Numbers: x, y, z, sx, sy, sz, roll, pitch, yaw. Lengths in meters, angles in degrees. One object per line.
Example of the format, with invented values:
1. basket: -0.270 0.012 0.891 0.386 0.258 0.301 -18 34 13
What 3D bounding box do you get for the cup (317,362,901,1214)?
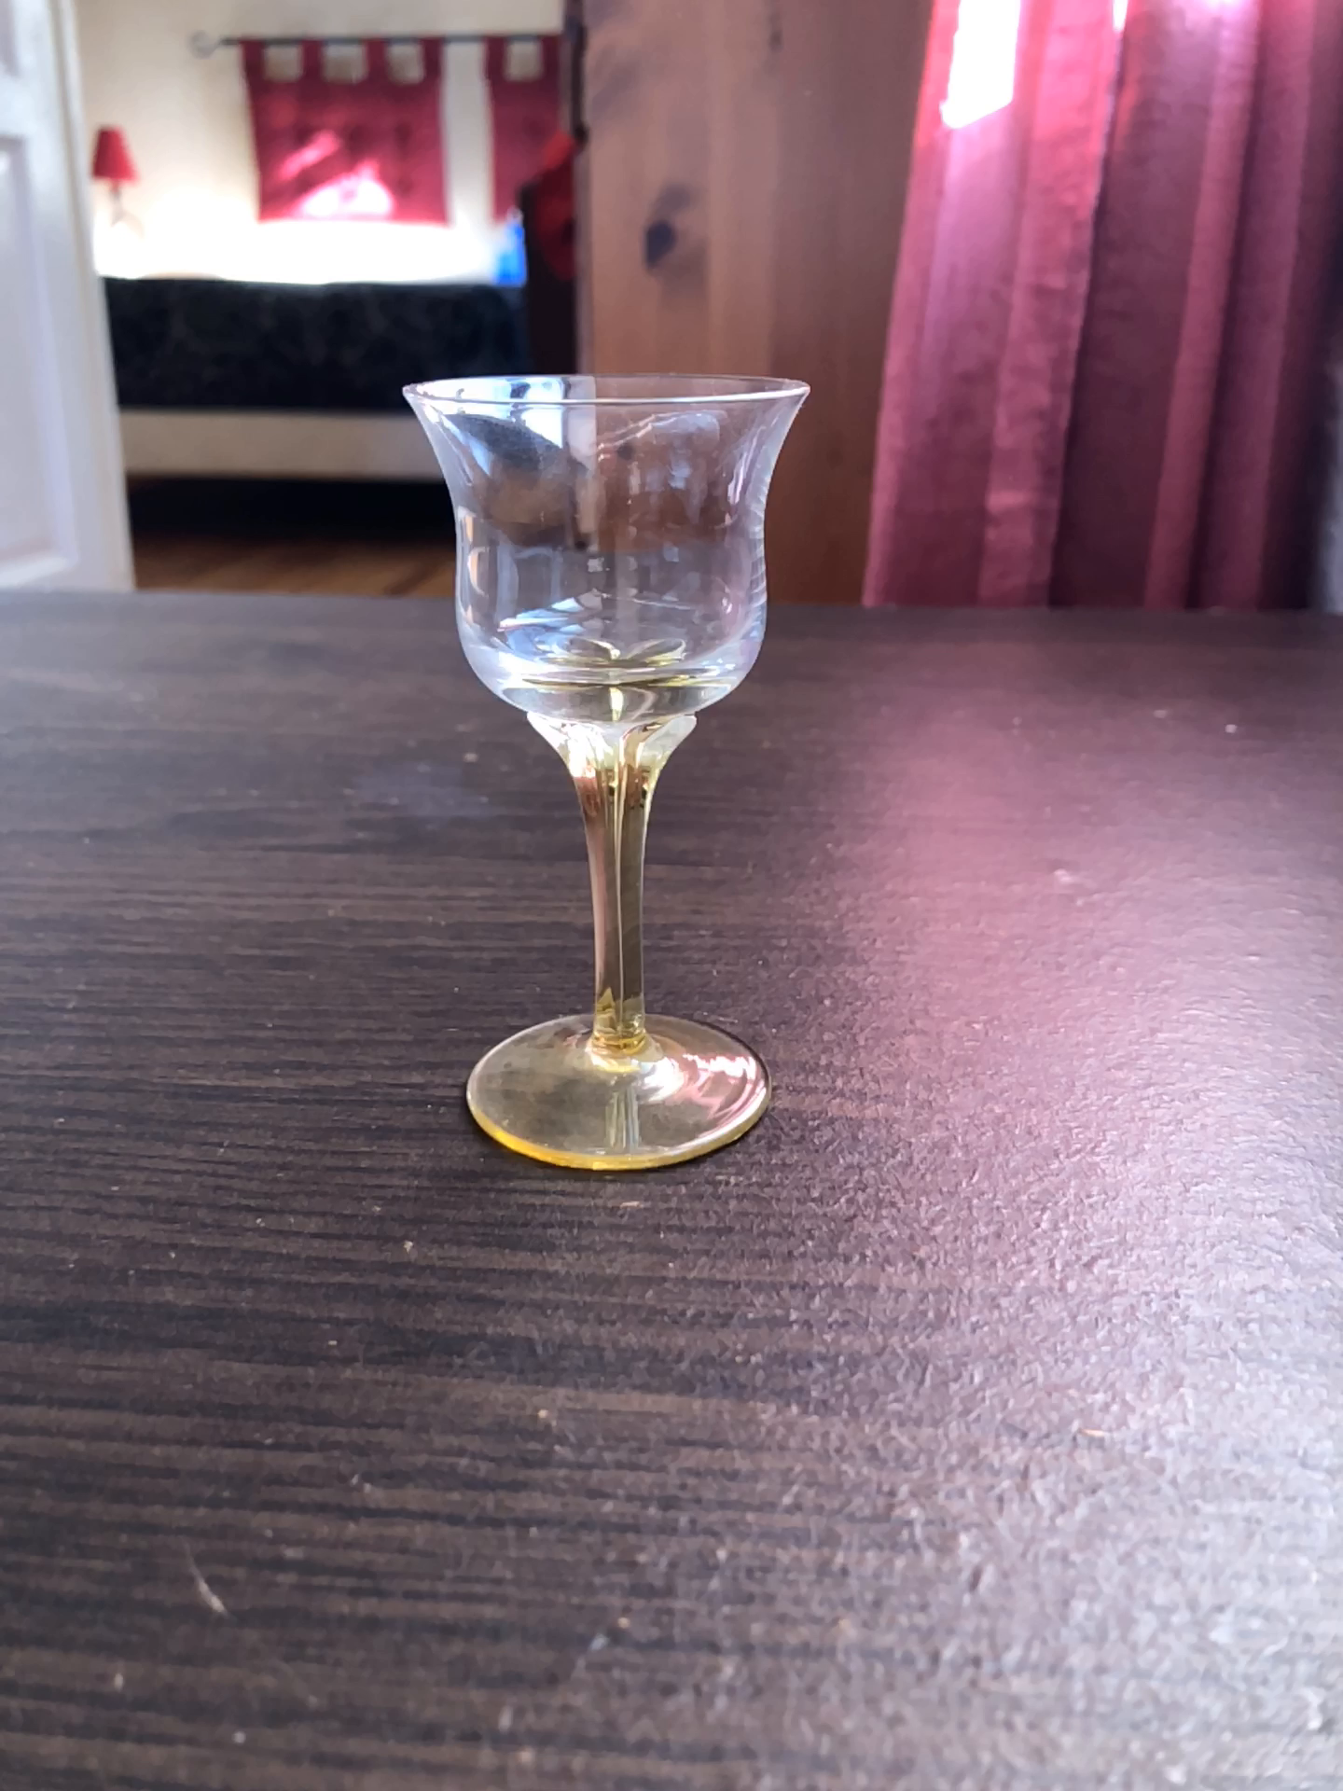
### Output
1. cup: -0.005 -0.016 0.189 0.058 0.093 0.051 3 21 4
